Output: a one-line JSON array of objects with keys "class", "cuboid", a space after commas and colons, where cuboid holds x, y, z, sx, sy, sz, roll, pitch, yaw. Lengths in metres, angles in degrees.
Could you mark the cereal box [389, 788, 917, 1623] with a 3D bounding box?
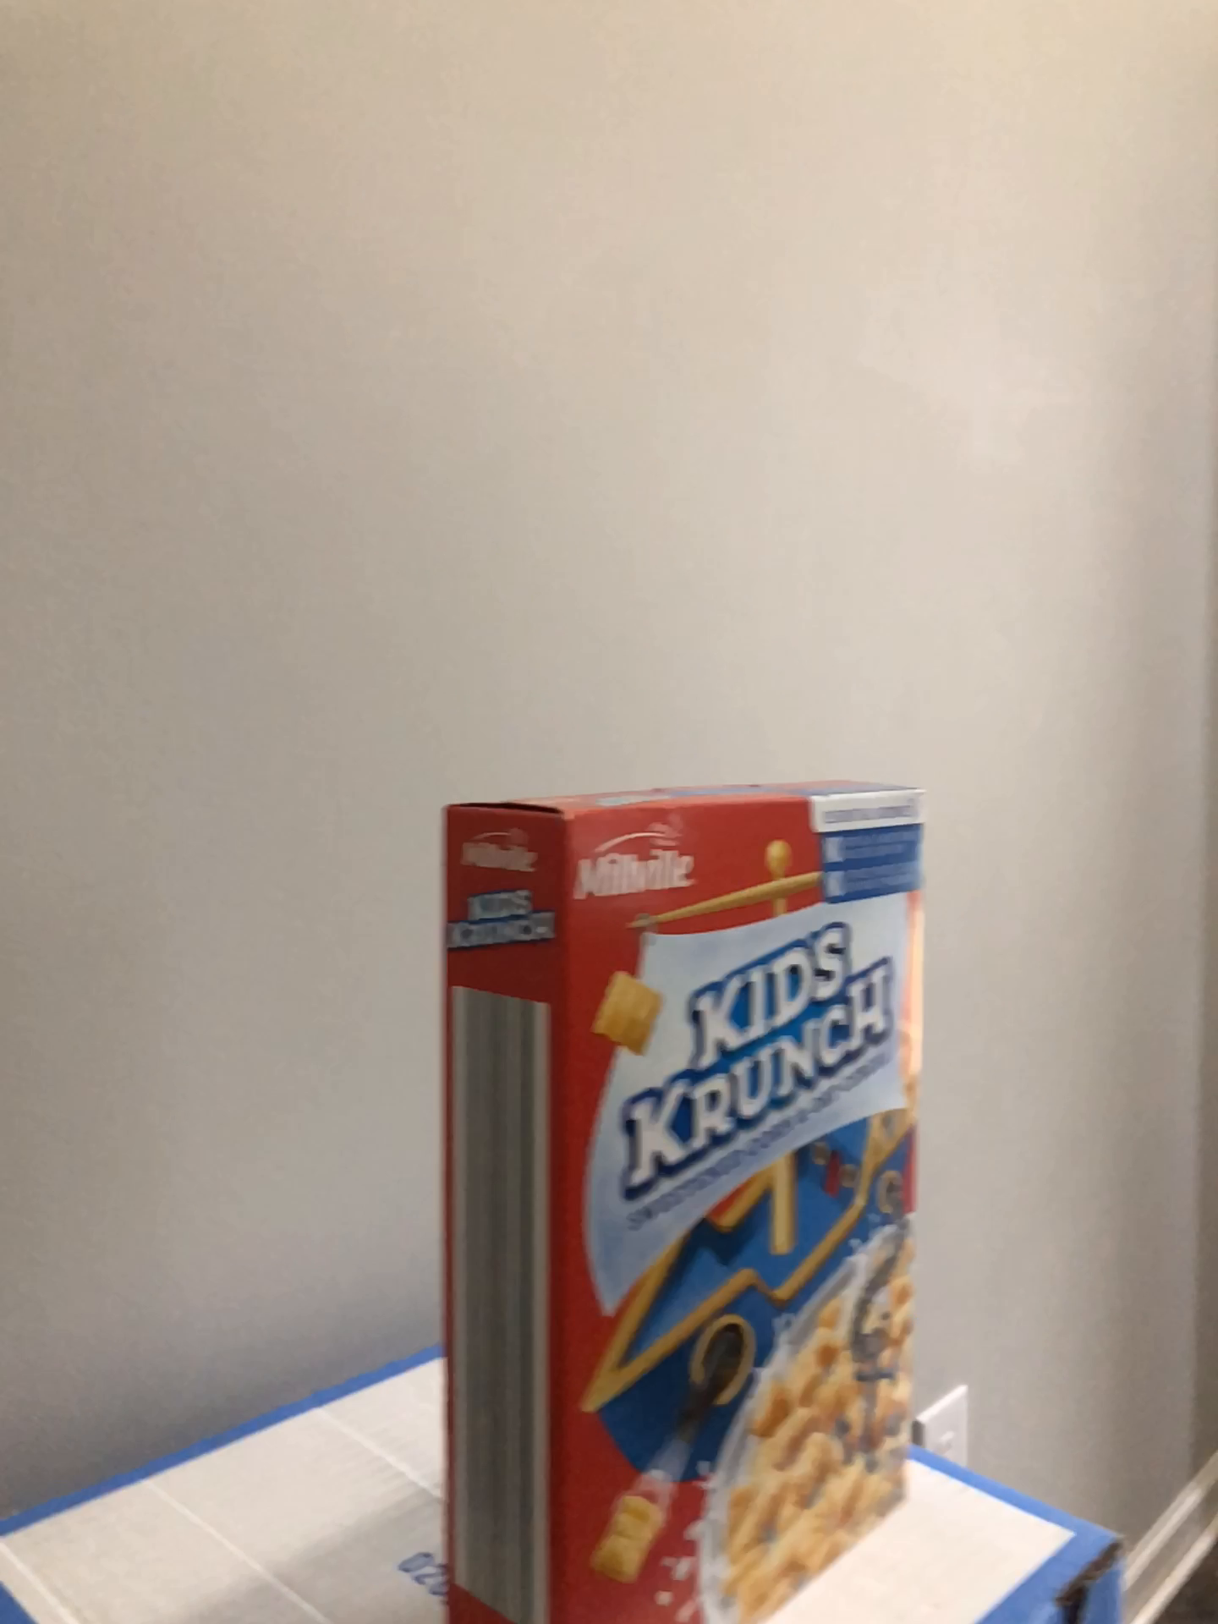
[{"class": "cereal box", "cuboid": [0.027, 0.131, 0.467, 0.060, 0.270, 0.210, 2, 4, 42]}]
